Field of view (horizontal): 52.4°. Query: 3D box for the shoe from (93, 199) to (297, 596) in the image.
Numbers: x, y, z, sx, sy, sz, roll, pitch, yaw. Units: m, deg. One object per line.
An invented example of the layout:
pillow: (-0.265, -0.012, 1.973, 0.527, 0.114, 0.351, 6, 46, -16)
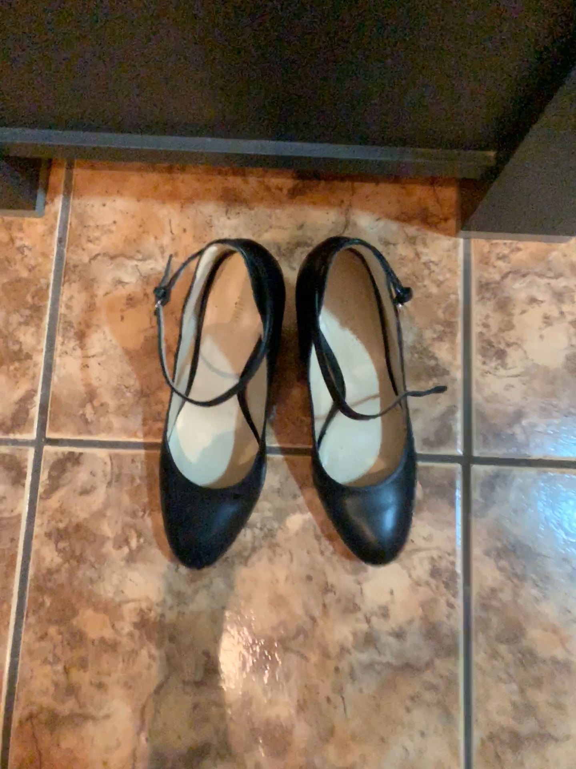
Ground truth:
shoe: (-0.046, 0.014, 0.383, 0.079, 0.160, 0.200, 7, 81, 1)

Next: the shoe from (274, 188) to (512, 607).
shoe: (0.051, 0.012, 0.374, 0.087, 0.140, 0.209, -9, 81, -2)
